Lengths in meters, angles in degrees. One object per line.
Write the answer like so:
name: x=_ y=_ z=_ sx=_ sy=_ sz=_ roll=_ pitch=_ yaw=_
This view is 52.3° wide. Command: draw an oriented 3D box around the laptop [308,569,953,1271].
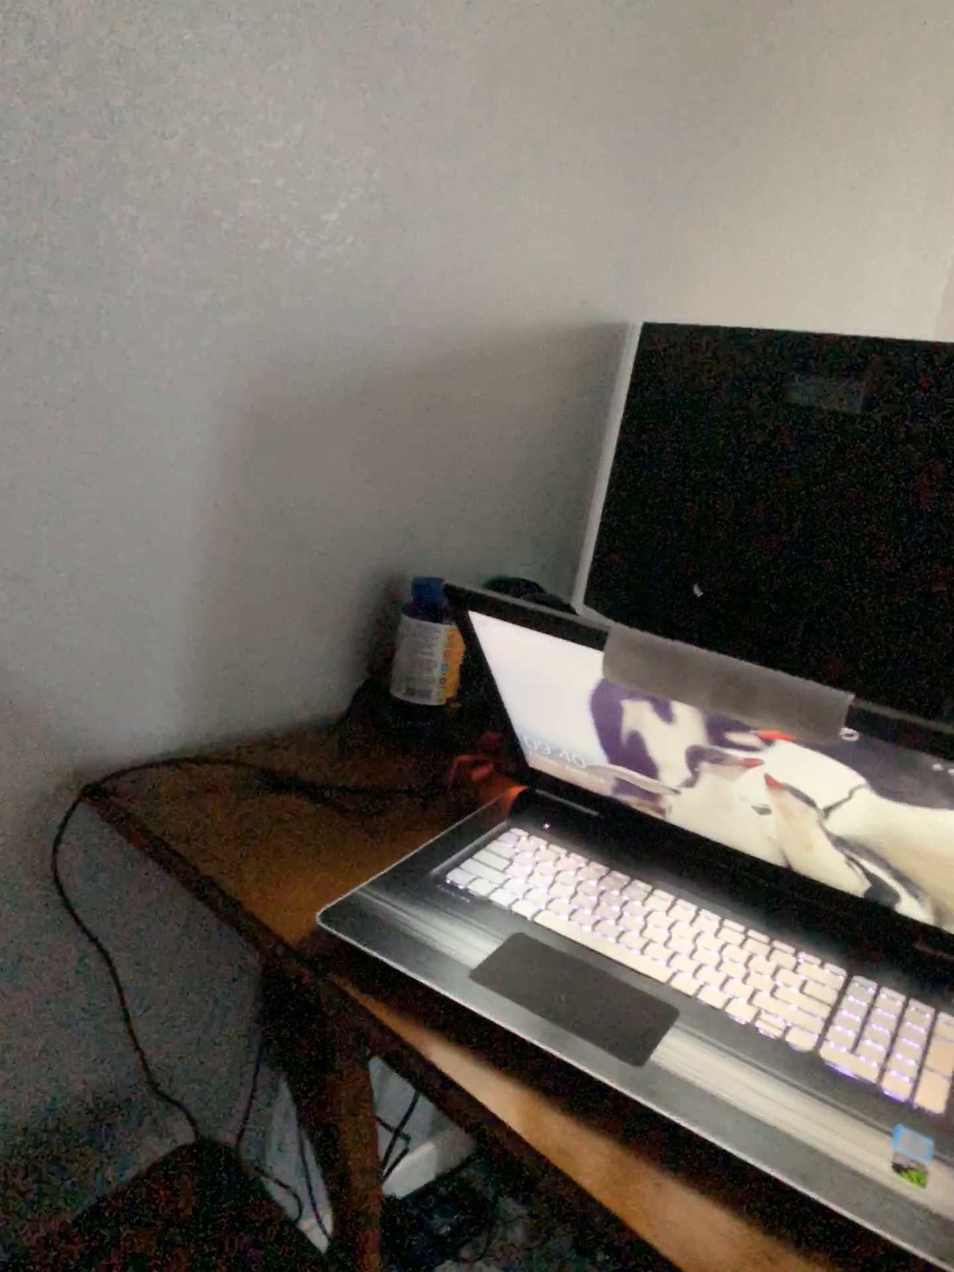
laptop: x=0.142 y=0.115 z=0.600 sx=0.393 sy=0.187 sz=0.257 roll=18 pitch=19 yaw=29
